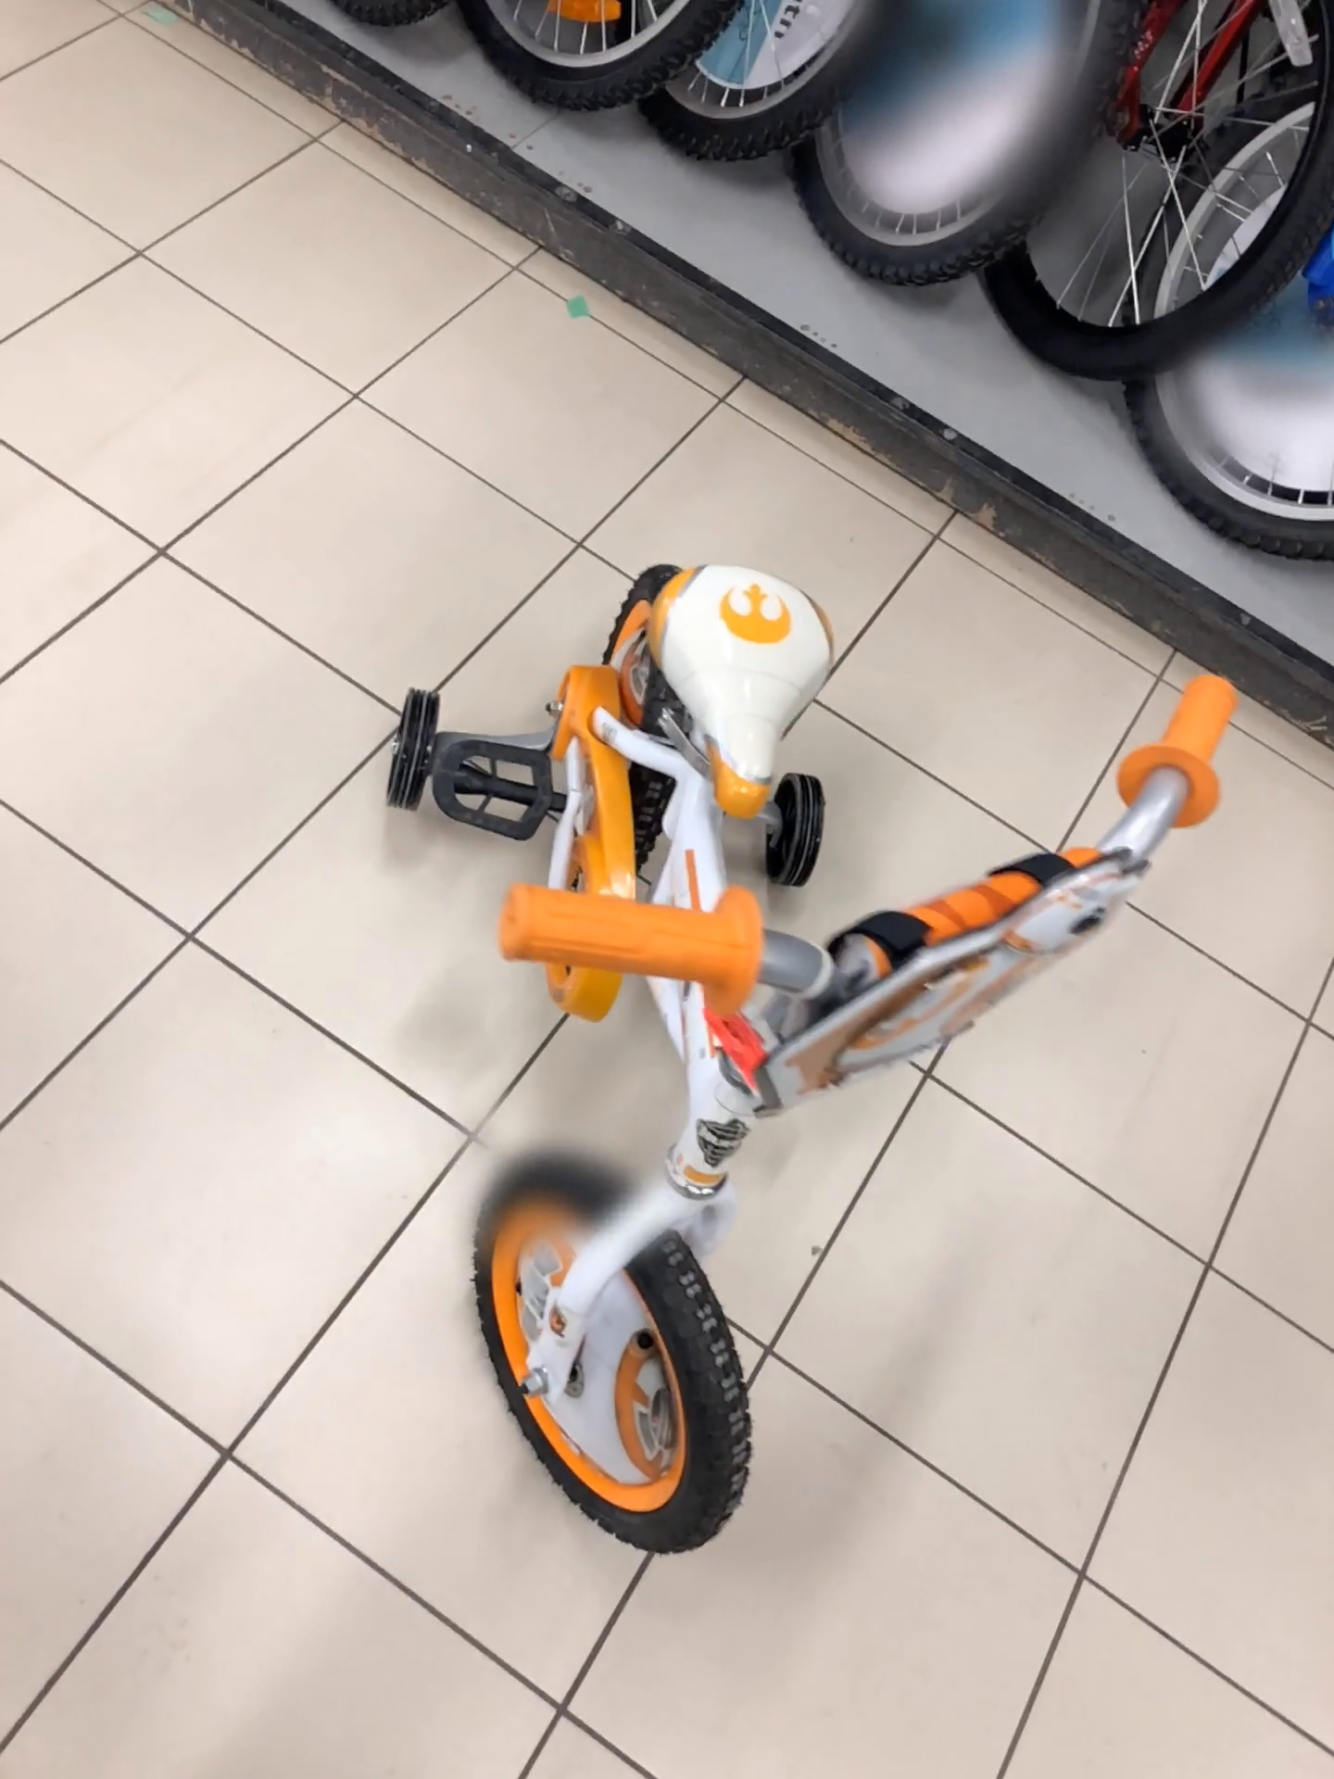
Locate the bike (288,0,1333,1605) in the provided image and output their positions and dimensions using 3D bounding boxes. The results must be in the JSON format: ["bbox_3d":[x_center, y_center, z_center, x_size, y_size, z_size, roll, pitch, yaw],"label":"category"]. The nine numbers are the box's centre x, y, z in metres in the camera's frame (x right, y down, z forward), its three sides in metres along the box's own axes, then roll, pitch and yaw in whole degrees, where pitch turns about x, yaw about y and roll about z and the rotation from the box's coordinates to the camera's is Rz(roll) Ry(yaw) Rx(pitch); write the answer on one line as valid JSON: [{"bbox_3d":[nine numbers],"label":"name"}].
[{"bbox_3d":[0.001,-0.019,1.010,0.435,0.715,0.817,2,62,-13],"label":"bike"}]
